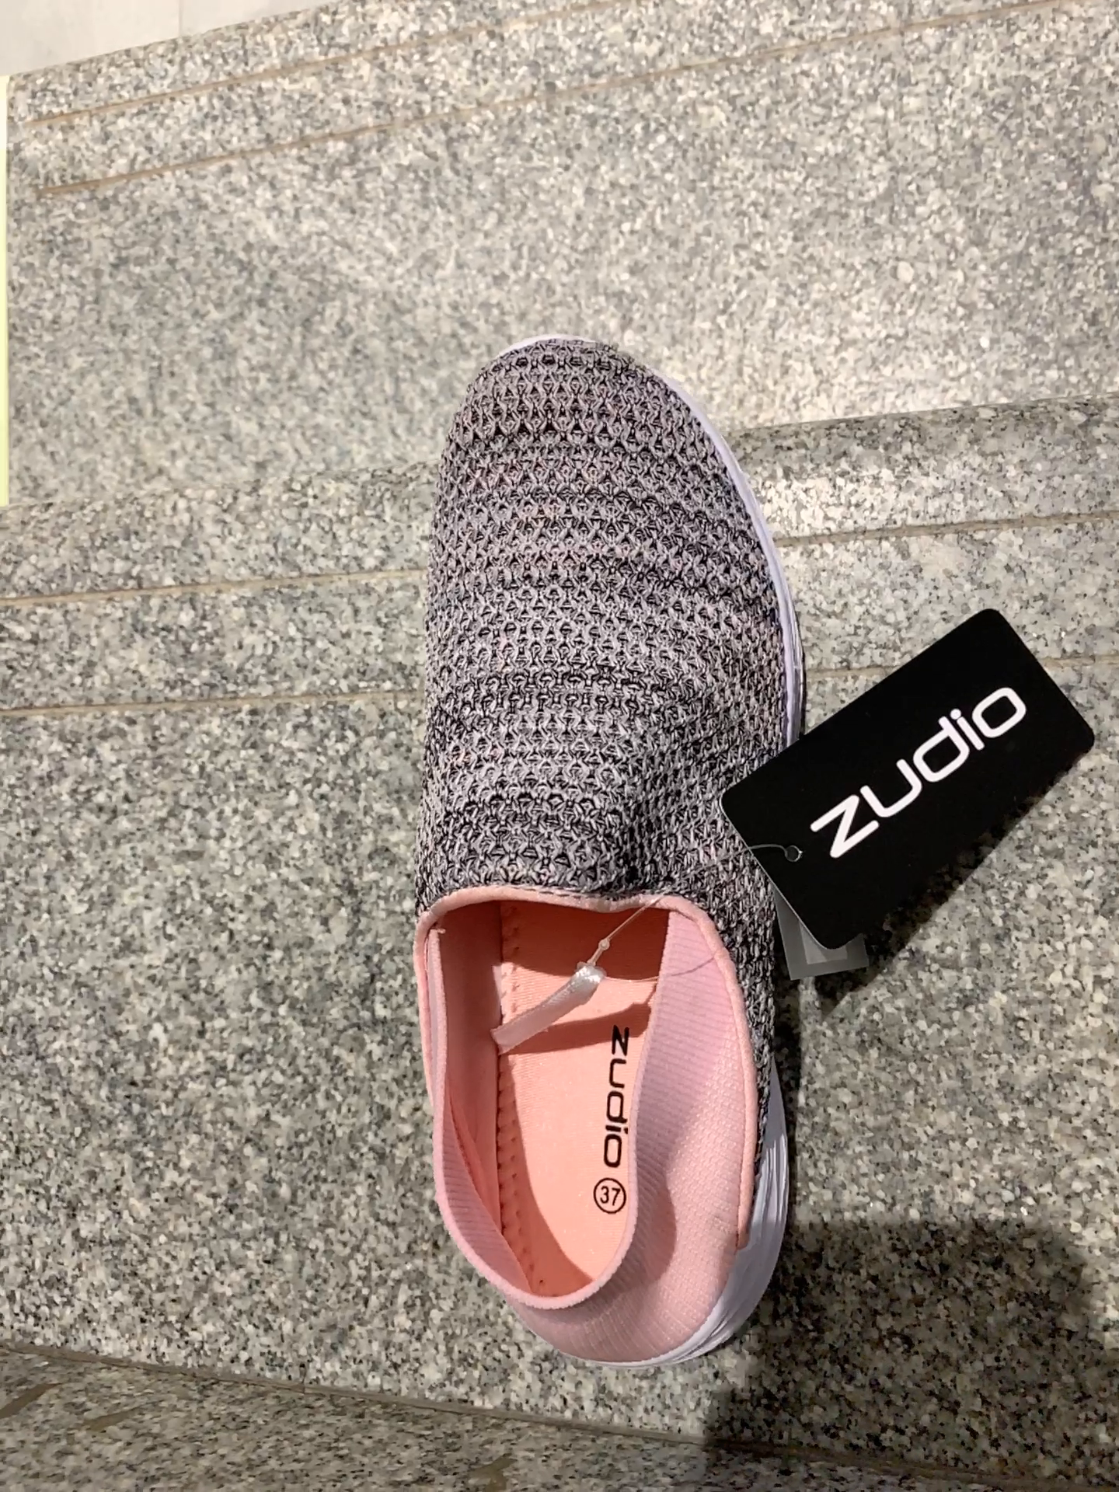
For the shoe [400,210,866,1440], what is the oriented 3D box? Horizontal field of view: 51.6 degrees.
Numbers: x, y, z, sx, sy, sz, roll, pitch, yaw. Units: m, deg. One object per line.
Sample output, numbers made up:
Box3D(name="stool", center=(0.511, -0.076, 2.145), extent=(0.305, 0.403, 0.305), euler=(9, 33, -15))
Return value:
Box3D(name="shoe", center=(0.022, 0.017, 0.286), extent=(0.090, 0.080, 0.250), euler=(-3, 87, 16))
